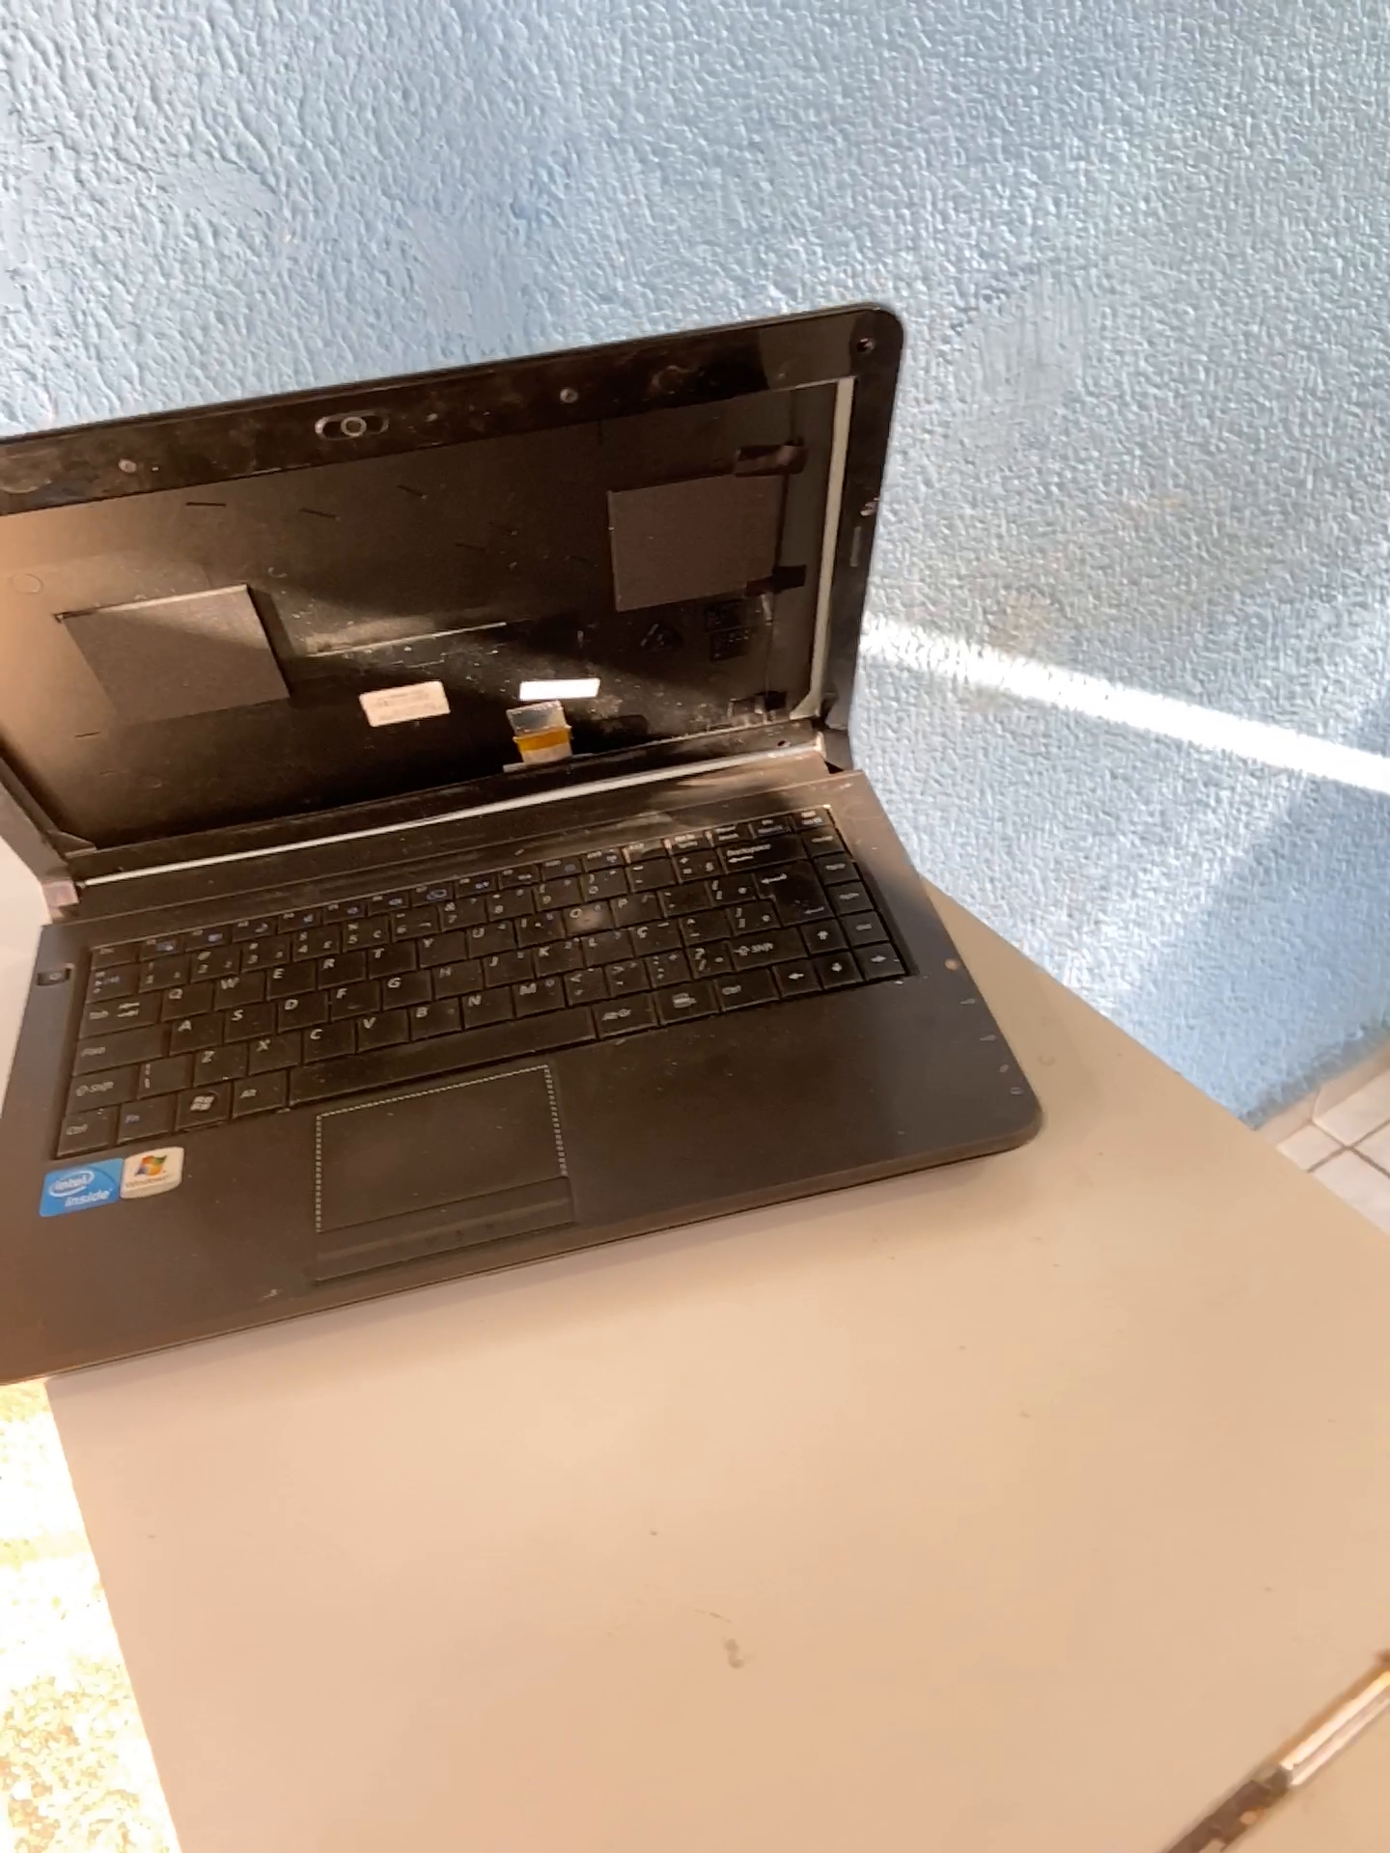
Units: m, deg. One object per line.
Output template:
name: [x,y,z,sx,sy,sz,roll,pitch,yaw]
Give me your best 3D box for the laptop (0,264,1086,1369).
laptop: [-0.082,-0.046,0.452,0.330,0.206,0.207,-12,40,-5]
